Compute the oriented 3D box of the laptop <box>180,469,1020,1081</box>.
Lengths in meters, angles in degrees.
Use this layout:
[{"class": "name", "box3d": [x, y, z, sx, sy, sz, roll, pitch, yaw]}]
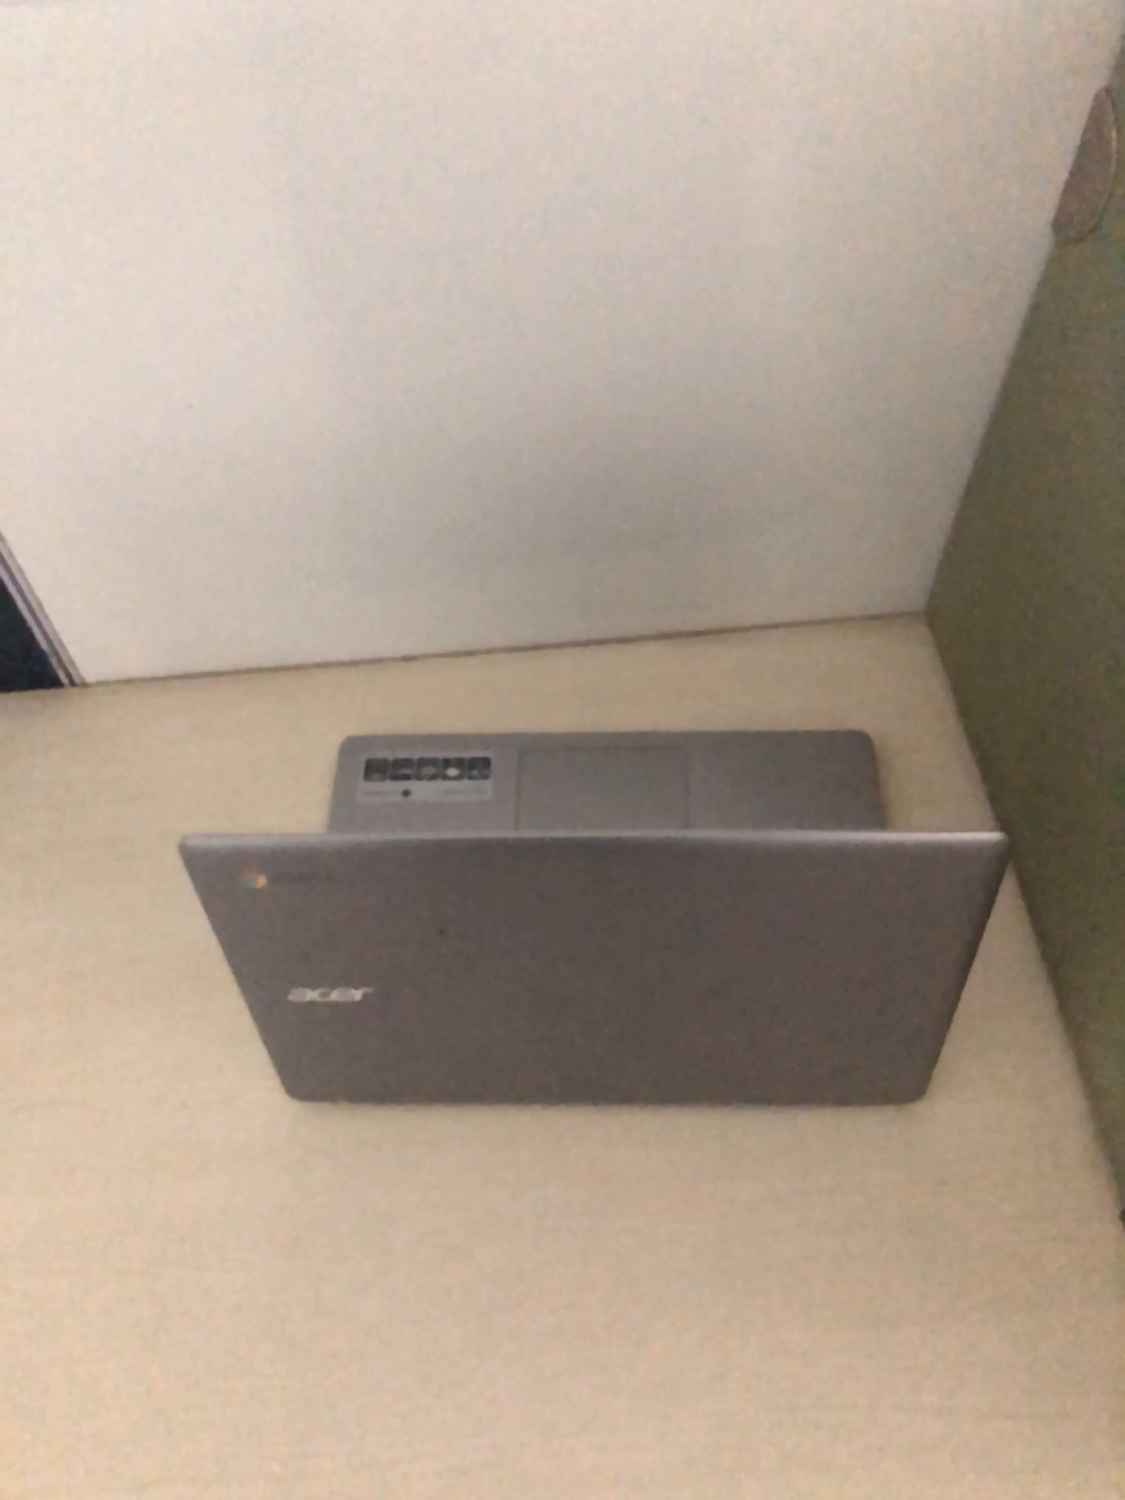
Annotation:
[{"class": "laptop", "box3d": [0.024, 0.018, 0.629, 0.321, 0.218, 0.222, 0, 55, 0]}]
